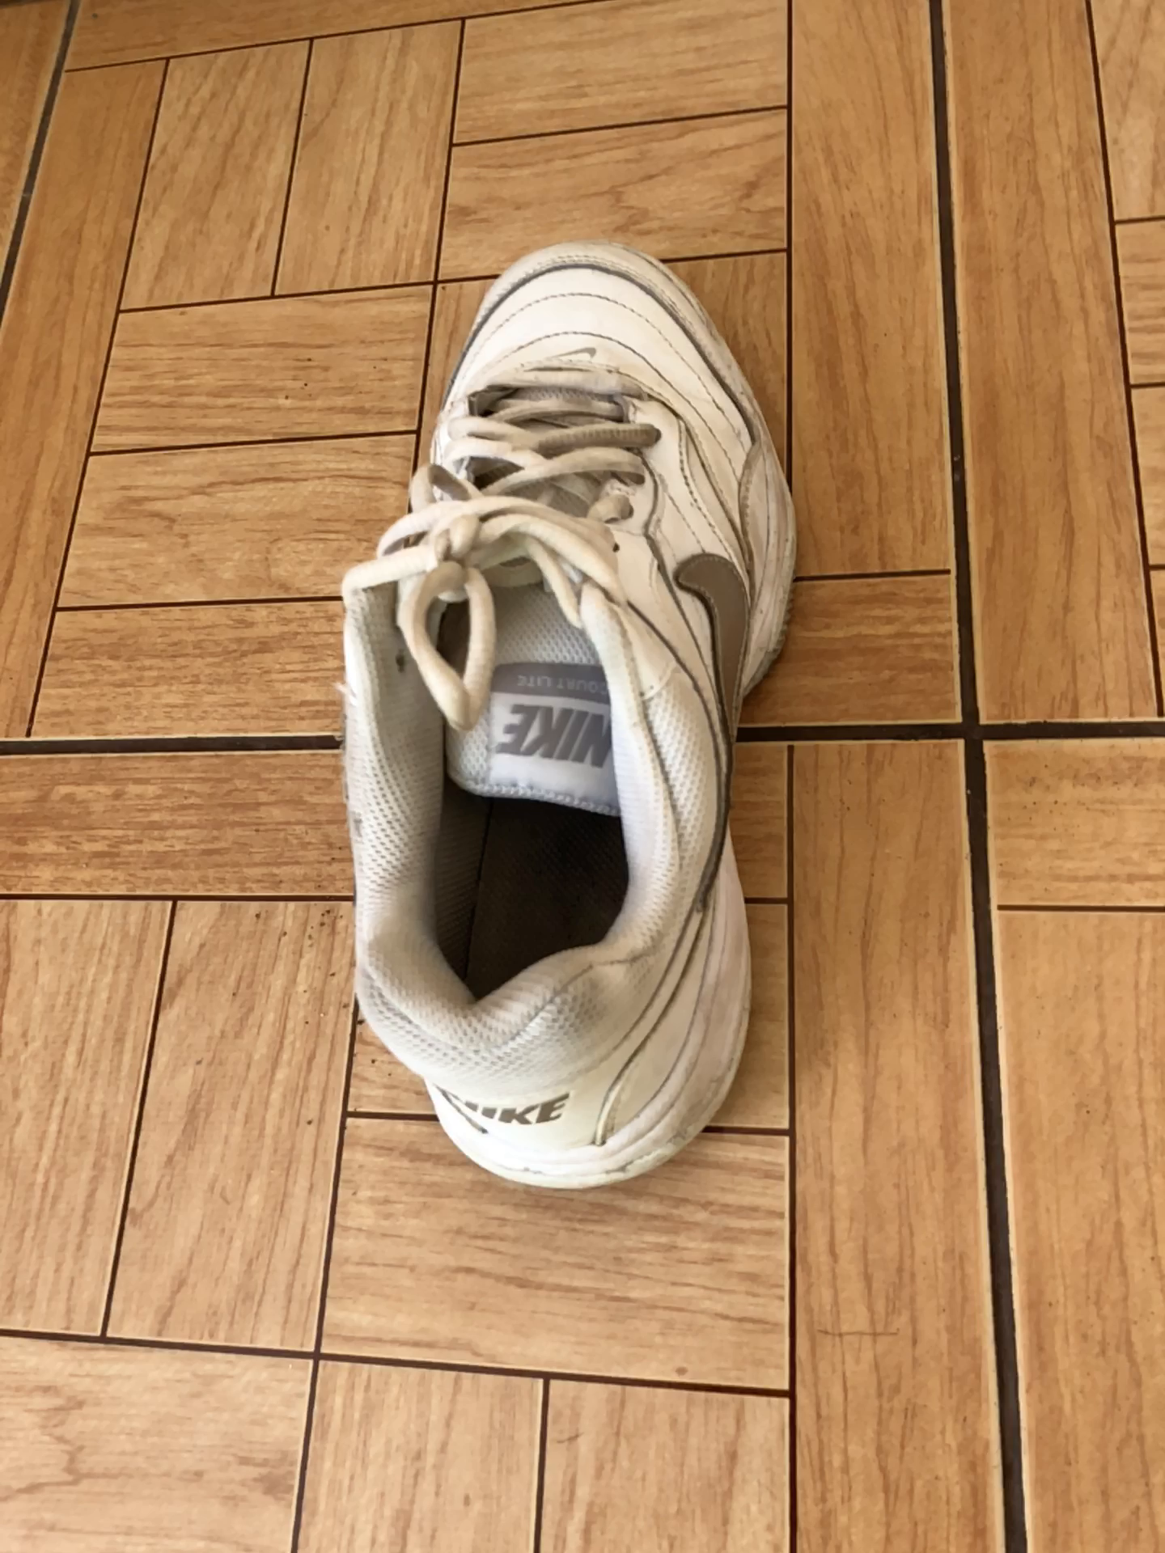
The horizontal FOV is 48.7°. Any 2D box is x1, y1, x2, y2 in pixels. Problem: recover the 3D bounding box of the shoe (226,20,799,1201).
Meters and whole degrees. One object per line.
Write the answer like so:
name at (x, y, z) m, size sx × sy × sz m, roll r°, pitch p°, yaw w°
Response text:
shoe at (-0.002, -0.036, 0.314) m, size 0.100 × 0.100 × 0.260 m, roll -1°, pitch 71°, yaw 11°
